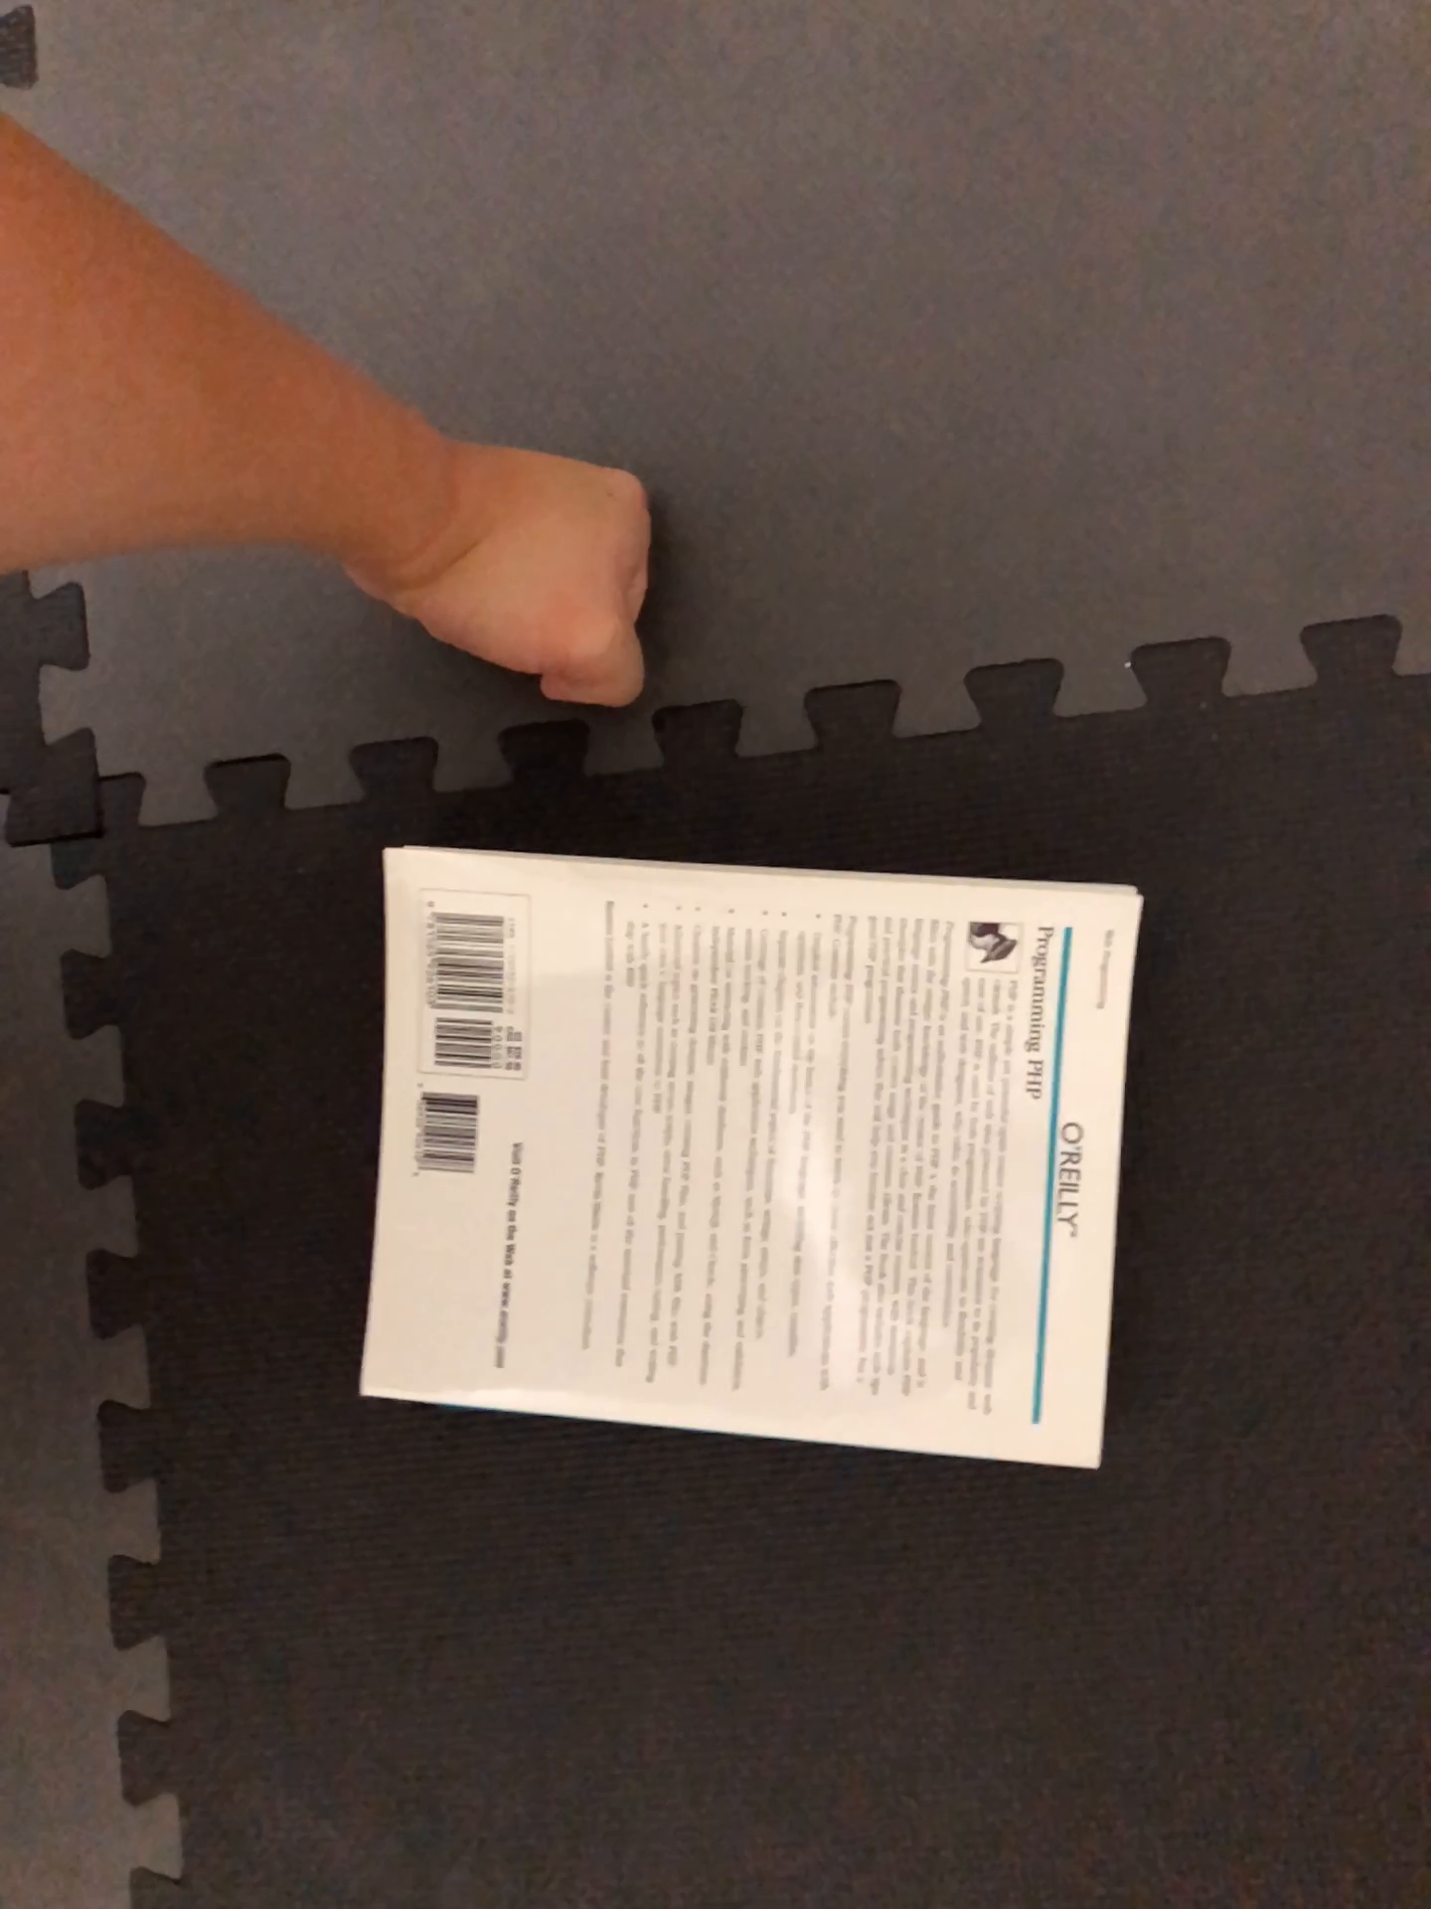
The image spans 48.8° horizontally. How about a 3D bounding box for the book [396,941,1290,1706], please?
[{"bbox_3d":[0.042,0.122,0.564,0.290,0.040,0.230,5,89,9],"label":"book"}]
